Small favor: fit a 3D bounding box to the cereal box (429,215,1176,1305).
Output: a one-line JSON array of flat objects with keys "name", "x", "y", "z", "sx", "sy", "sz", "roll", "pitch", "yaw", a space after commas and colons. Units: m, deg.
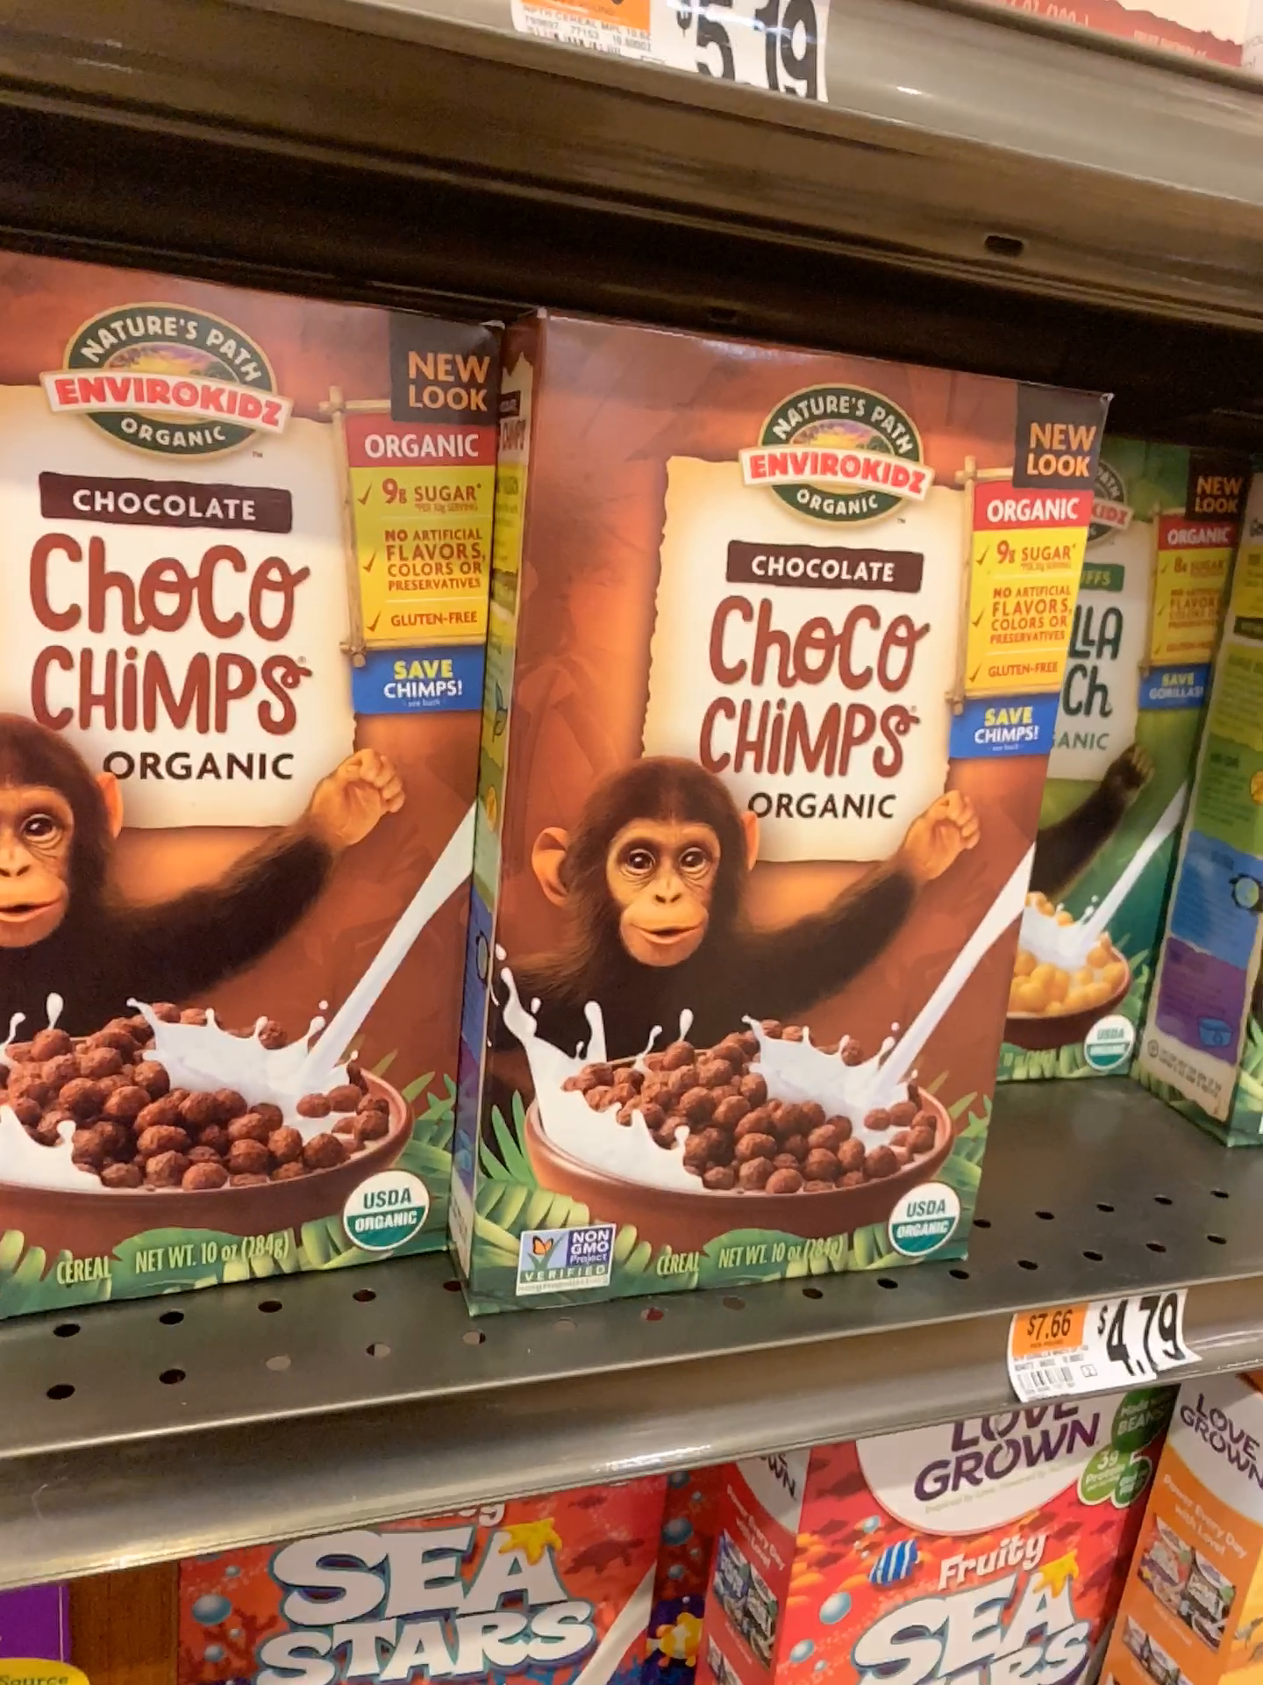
[{"name": "cereal box", "x": 0.041, "y": -0.014, "z": 0.373, "sx": 0.170, "sy": 0.269, "sz": 0.060, "roll": 1, "pitch": 14, "yaw": -20}]
